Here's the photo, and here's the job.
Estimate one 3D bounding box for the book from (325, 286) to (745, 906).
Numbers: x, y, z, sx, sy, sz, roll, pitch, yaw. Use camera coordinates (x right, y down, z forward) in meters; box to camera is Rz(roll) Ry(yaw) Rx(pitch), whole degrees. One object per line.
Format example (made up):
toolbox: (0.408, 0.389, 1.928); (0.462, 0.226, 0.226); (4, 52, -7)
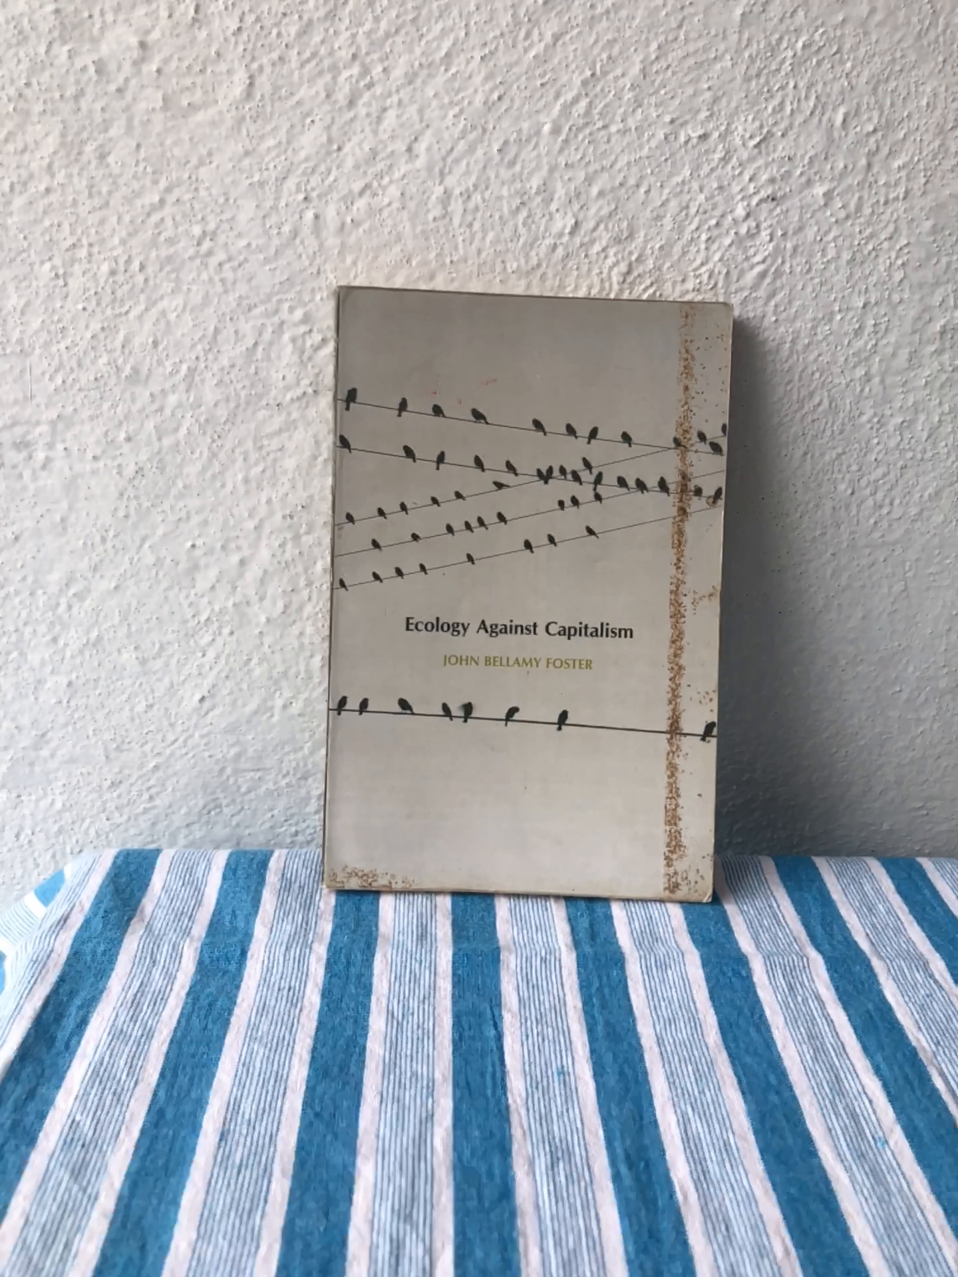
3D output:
book: (0.020, -0.016, 0.377); (0.140, 0.210, 0.030); (1, -1, 2)
